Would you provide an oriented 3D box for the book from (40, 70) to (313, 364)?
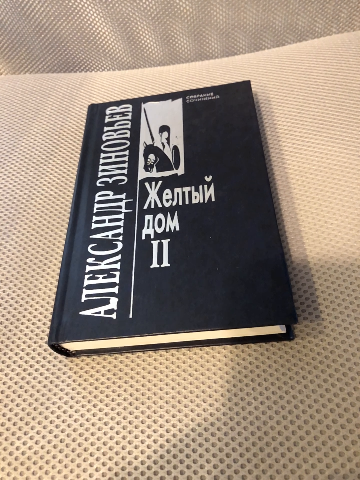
[{"bbox_3d":[-0.005,-0.030,0.273,0.140,0.030,0.211,-6,56,7],"label":"book"}]
